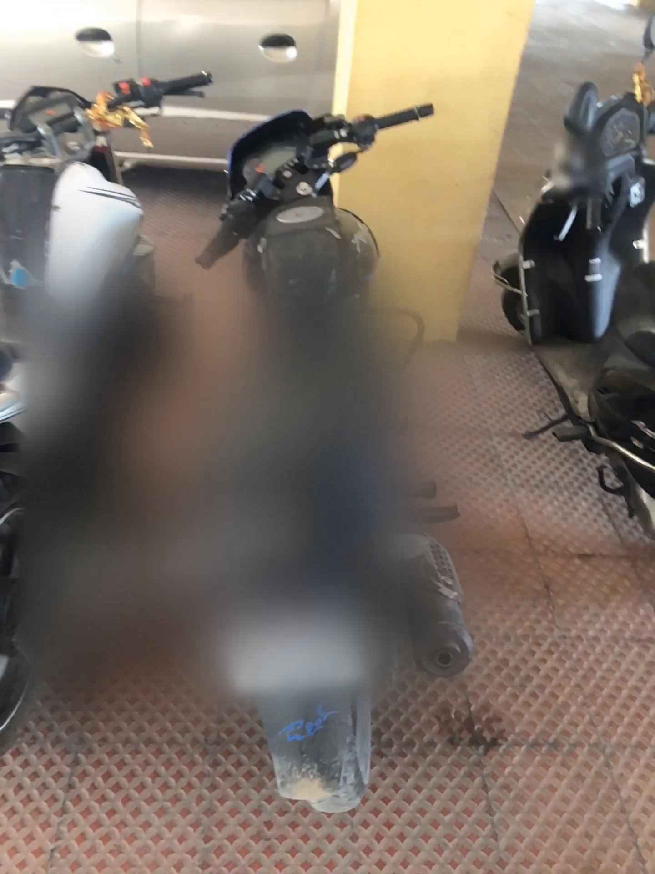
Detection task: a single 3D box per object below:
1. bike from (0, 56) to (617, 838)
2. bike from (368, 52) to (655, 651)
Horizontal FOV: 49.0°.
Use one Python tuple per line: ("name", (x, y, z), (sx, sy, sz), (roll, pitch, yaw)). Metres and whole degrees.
("bike", (-0.208, -0.202, 1.788), (0.745, 0.988, 1.854), (1, 37, -7))
("bike", (0.793, -0.417, 2.385), (0.713, 1.221, 1.722), (-5, 38, -14))
